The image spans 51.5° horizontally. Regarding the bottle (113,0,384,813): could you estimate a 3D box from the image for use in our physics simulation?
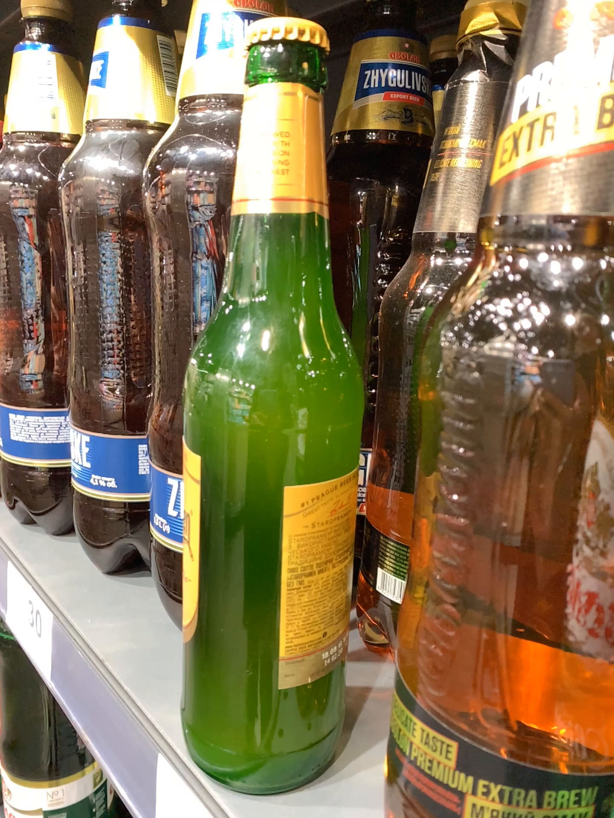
[{"bbox_3d":[-0.016,0.002,0.222,0.067,0.254,0.062,1,13,0],"label":"bottle"}]

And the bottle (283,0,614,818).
[{"bbox_3d":[0.046,-0.001,0.163,0.075,0.270,0.066,11,16,36],"label":"bottle"}]
